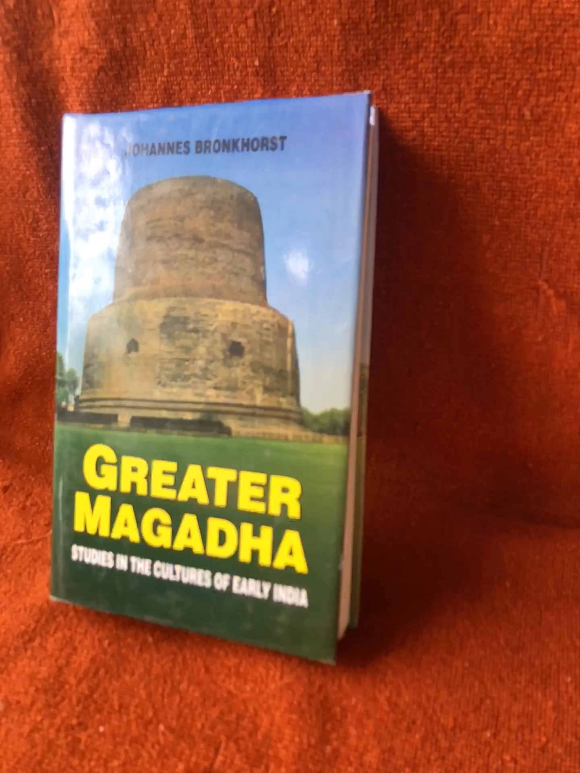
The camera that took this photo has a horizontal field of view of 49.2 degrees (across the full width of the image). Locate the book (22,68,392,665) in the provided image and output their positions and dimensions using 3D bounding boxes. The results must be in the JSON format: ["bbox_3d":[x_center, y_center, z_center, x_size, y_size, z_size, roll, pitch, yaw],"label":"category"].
[{"bbox_3d":[-0.041,-0.010,0.271,0.150,0.220,0.030,5,5,19],"label":"book"}]
